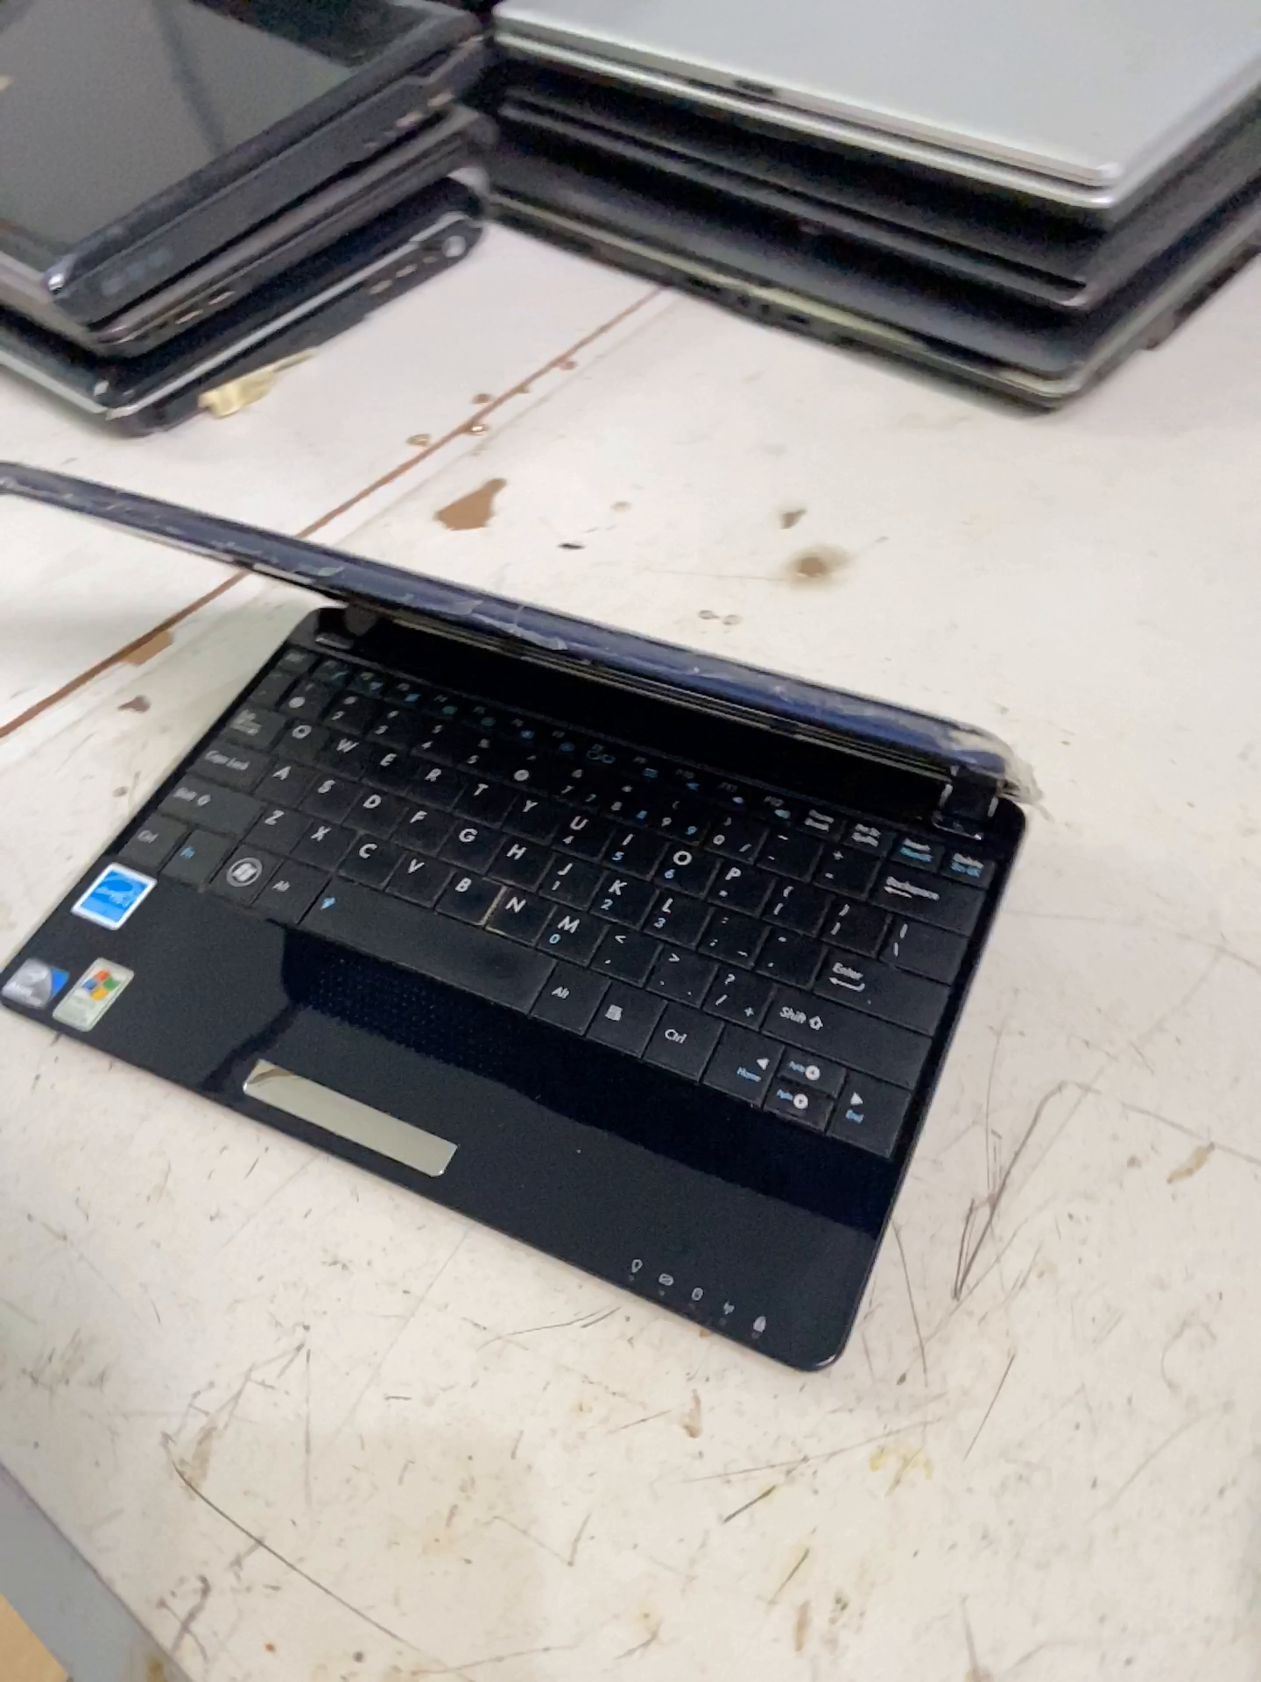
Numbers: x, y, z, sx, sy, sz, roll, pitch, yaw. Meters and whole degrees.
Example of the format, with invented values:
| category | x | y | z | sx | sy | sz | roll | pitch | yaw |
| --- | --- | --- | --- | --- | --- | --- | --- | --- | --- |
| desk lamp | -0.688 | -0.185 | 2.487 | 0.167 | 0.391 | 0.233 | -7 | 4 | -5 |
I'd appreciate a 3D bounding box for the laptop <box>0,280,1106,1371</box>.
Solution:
| category | x | y | z | sx | sy | sz | roll | pitch | yaw |
| --- | --- | --- | --- | --- | --- | --- | --- | --- | --- |
| laptop | -0.041 | -0.019 | 0.338 | 0.259 | 0.121 | 0.170 | 18 | 57 | 19 |
